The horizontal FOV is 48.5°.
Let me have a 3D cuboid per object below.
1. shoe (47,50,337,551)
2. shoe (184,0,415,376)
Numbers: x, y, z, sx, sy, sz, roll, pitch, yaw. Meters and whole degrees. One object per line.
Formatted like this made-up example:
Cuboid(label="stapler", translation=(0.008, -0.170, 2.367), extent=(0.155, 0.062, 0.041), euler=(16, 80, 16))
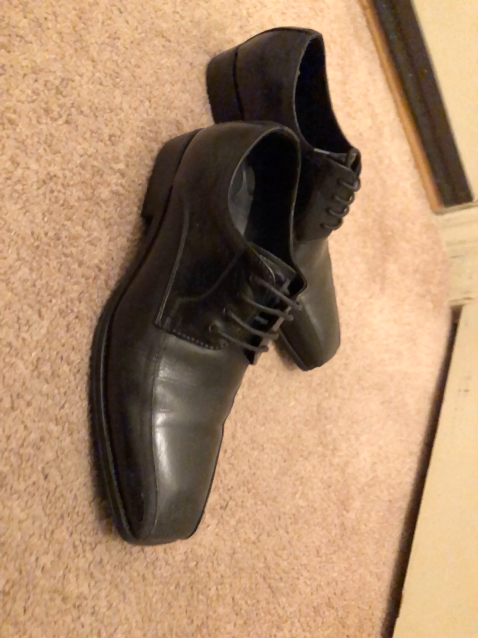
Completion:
Cuboid(label="shoe", translation=(-0.019, -0.008, 0.357), extent=(0.111, 0.107, 0.283), euler=(26, 66, -48))
Cuboid(label="shoe", translation=(0.065, -0.107, 0.497), extent=(0.116, 0.110, 0.297), euler=(-28, 108, -50))
